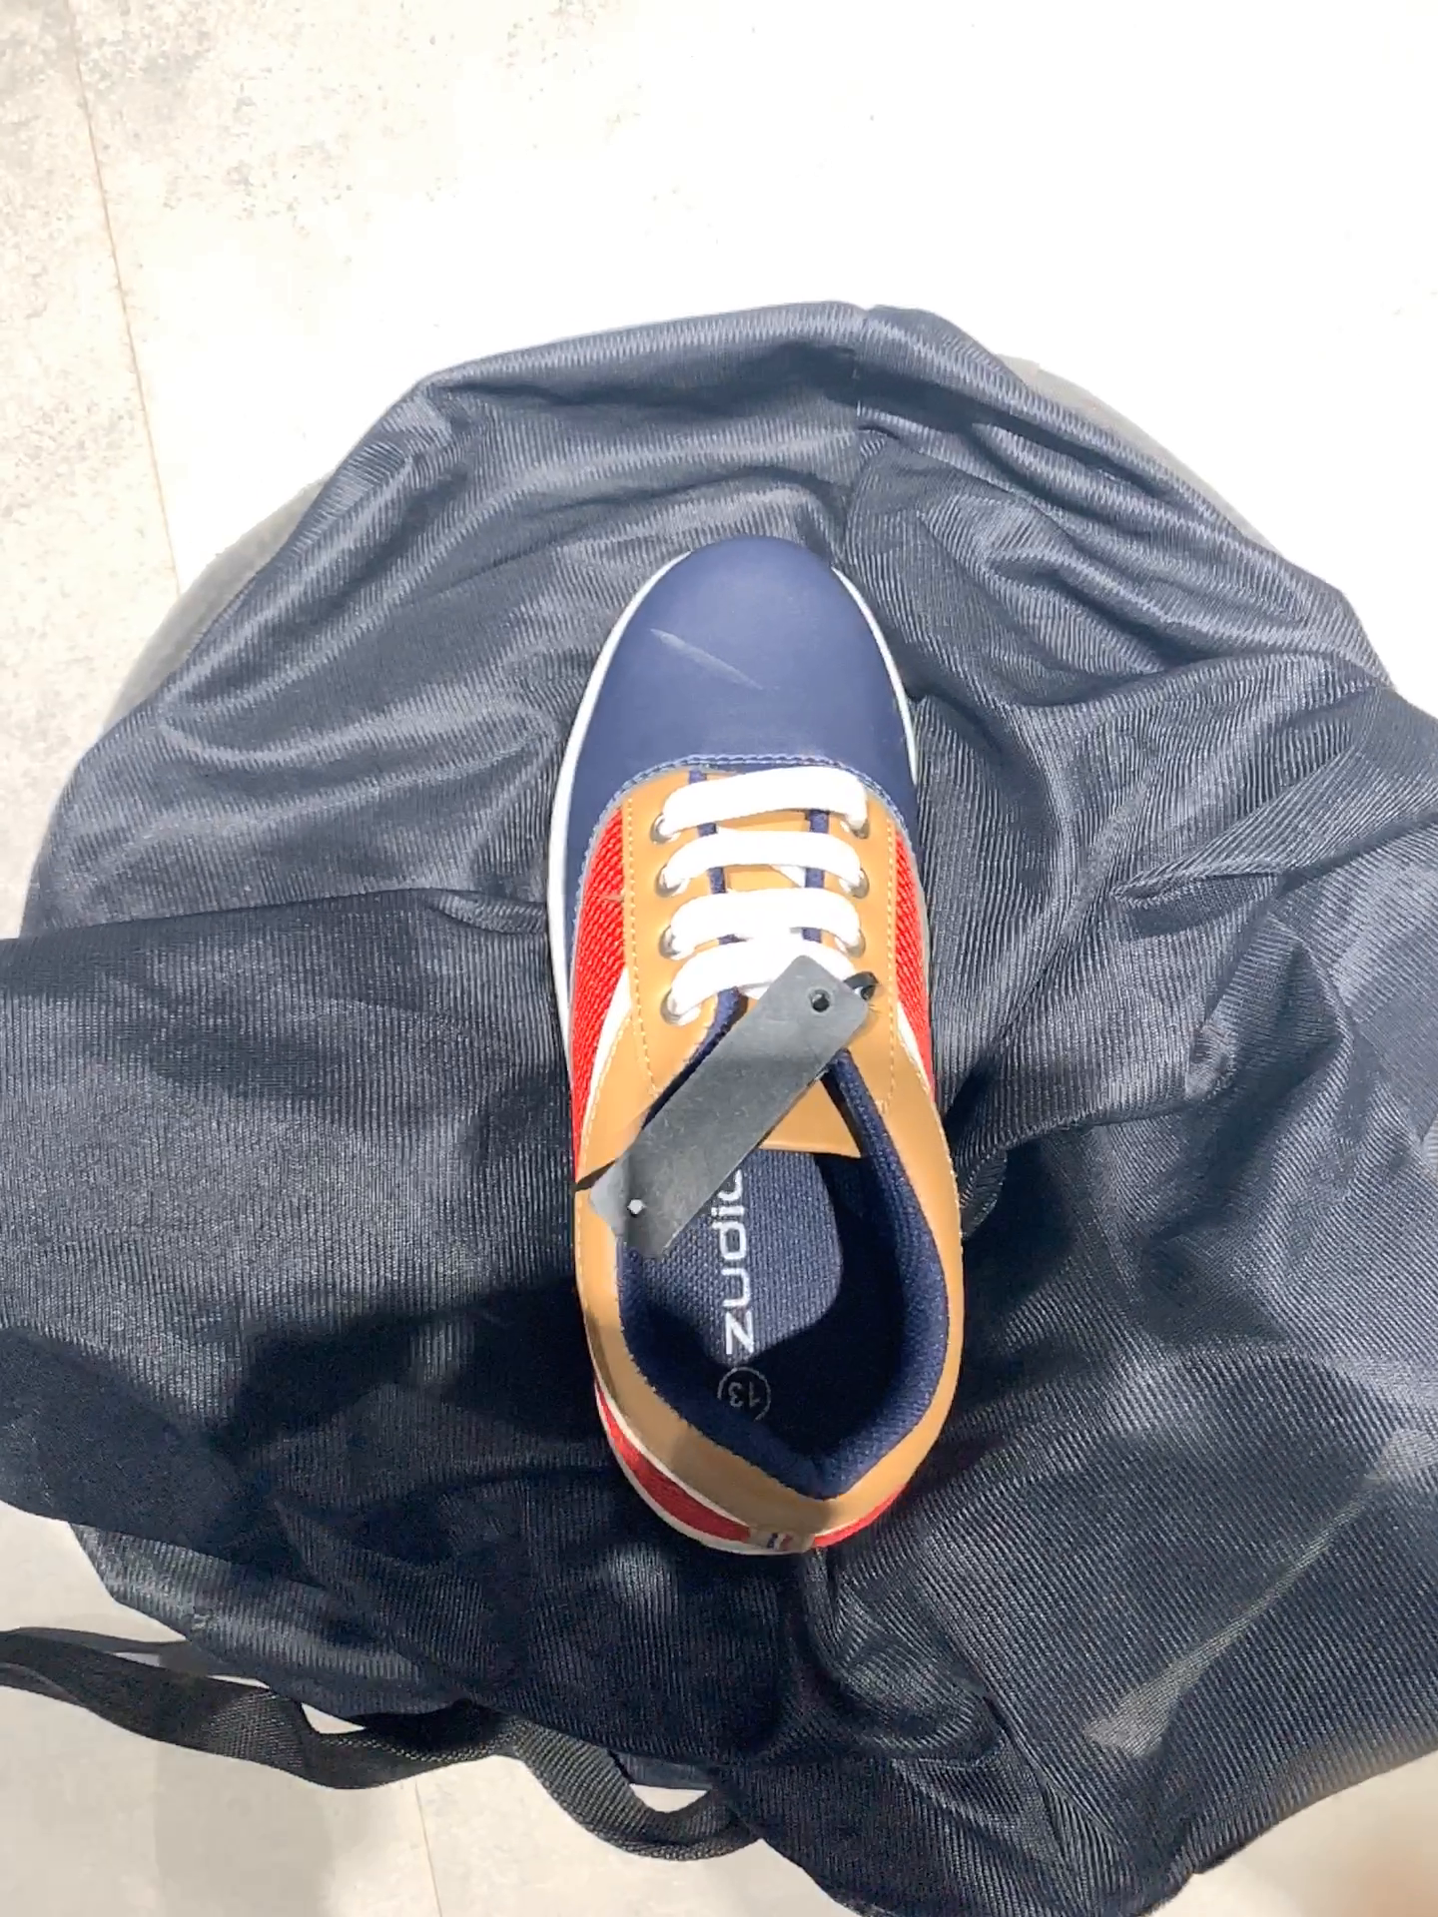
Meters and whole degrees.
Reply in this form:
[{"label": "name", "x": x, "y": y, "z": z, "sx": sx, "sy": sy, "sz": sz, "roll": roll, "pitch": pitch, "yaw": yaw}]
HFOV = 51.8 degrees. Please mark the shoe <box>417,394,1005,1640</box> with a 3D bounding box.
[{"label": "shoe", "x": -0.002, "y": 0.010, "z": 0.263, "sx": 0.080, "sy": 0.070, "sz": 0.190, "roll": -5, "pitch": 76, "yaw": 7}]
